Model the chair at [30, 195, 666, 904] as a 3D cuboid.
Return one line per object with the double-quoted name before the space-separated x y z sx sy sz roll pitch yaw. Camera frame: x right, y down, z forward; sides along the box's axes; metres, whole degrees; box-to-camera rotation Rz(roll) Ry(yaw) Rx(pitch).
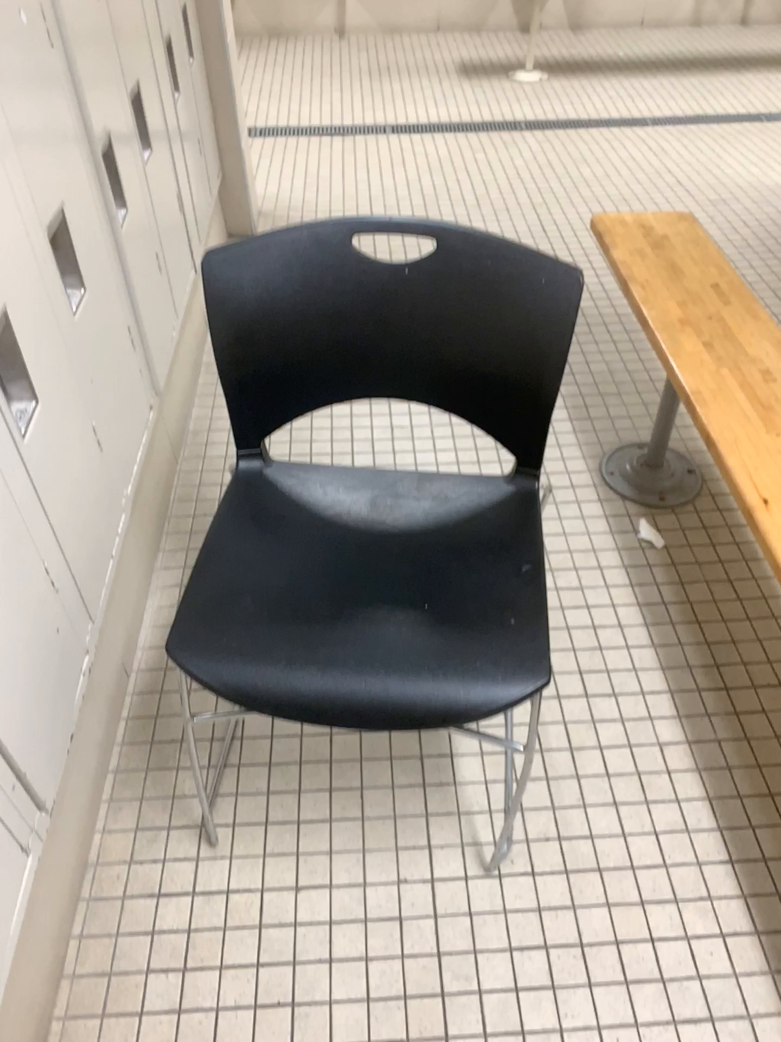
"chair" -0.004 0.024 1.026 0.475 0.631 0.615 4 43 5
